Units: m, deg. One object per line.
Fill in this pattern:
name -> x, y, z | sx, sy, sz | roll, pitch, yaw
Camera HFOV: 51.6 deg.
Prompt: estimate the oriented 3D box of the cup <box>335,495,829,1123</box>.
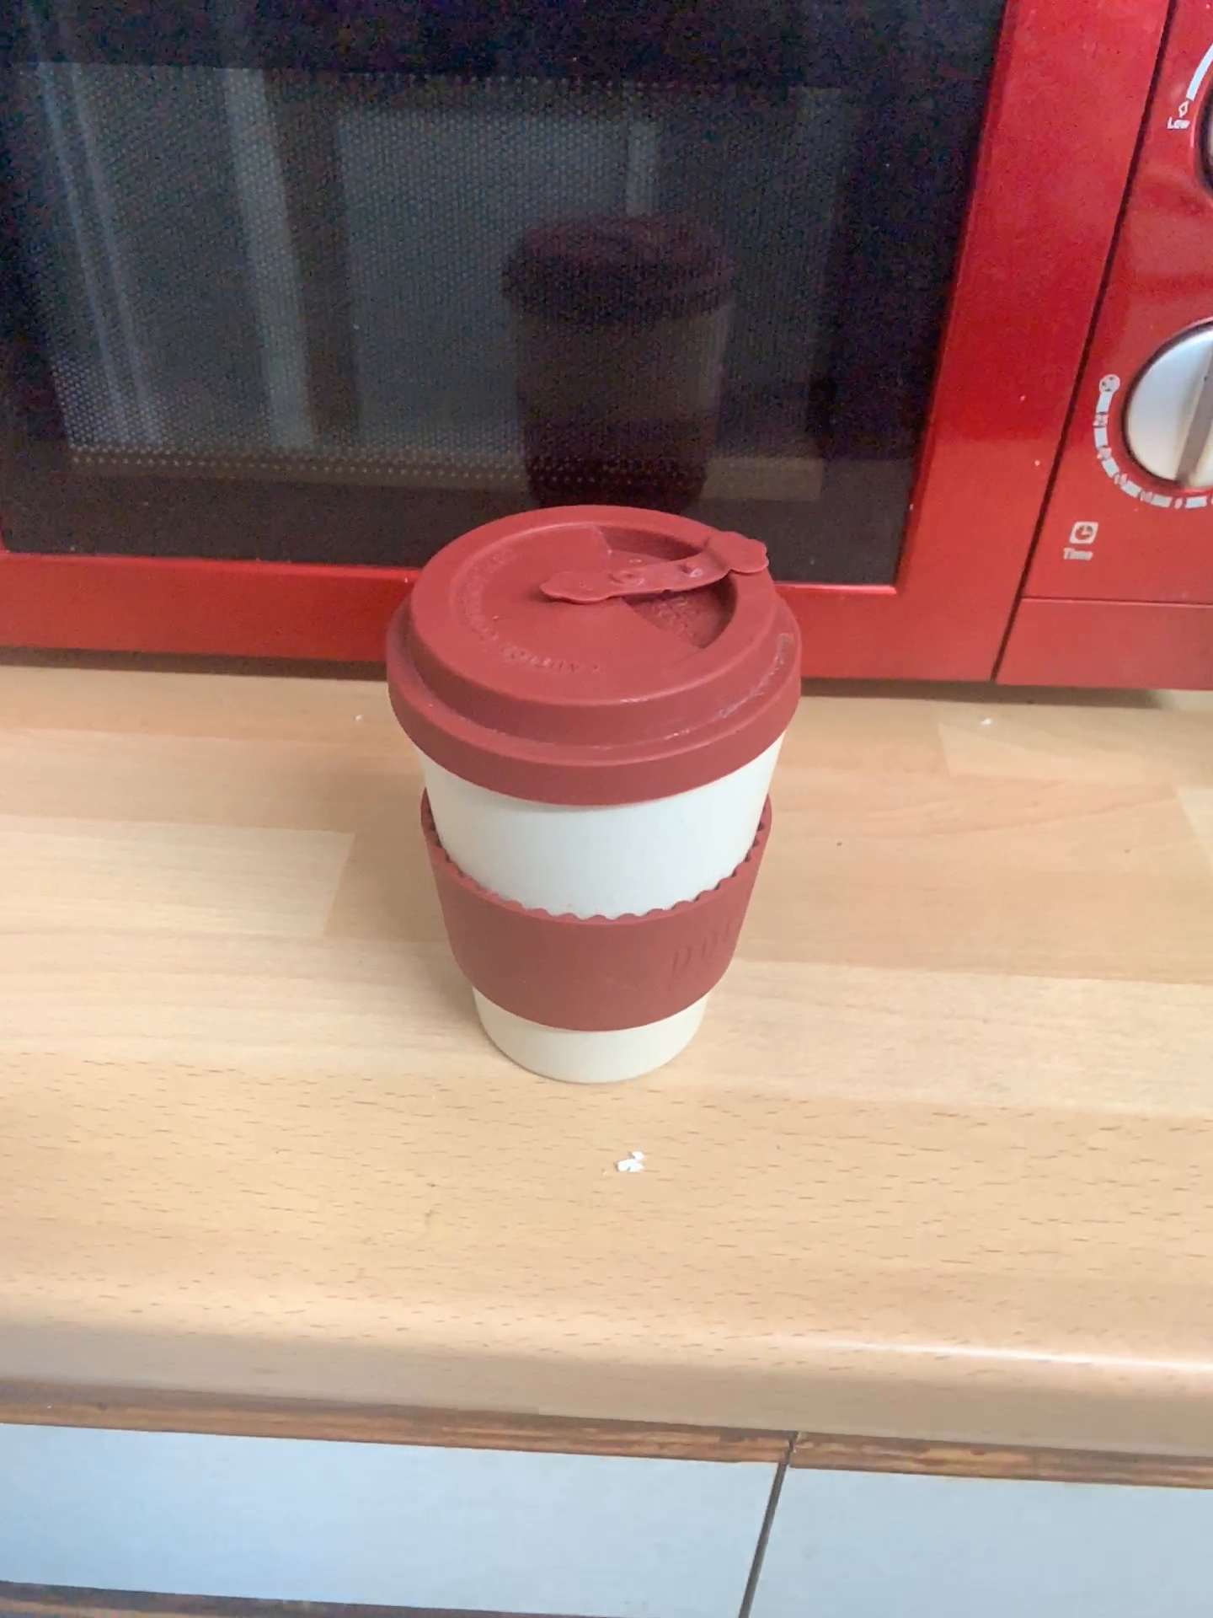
cup -> -0.006, 0.001, 0.291 | 0.087, 0.115, 0.087 | 1, 40, -1
